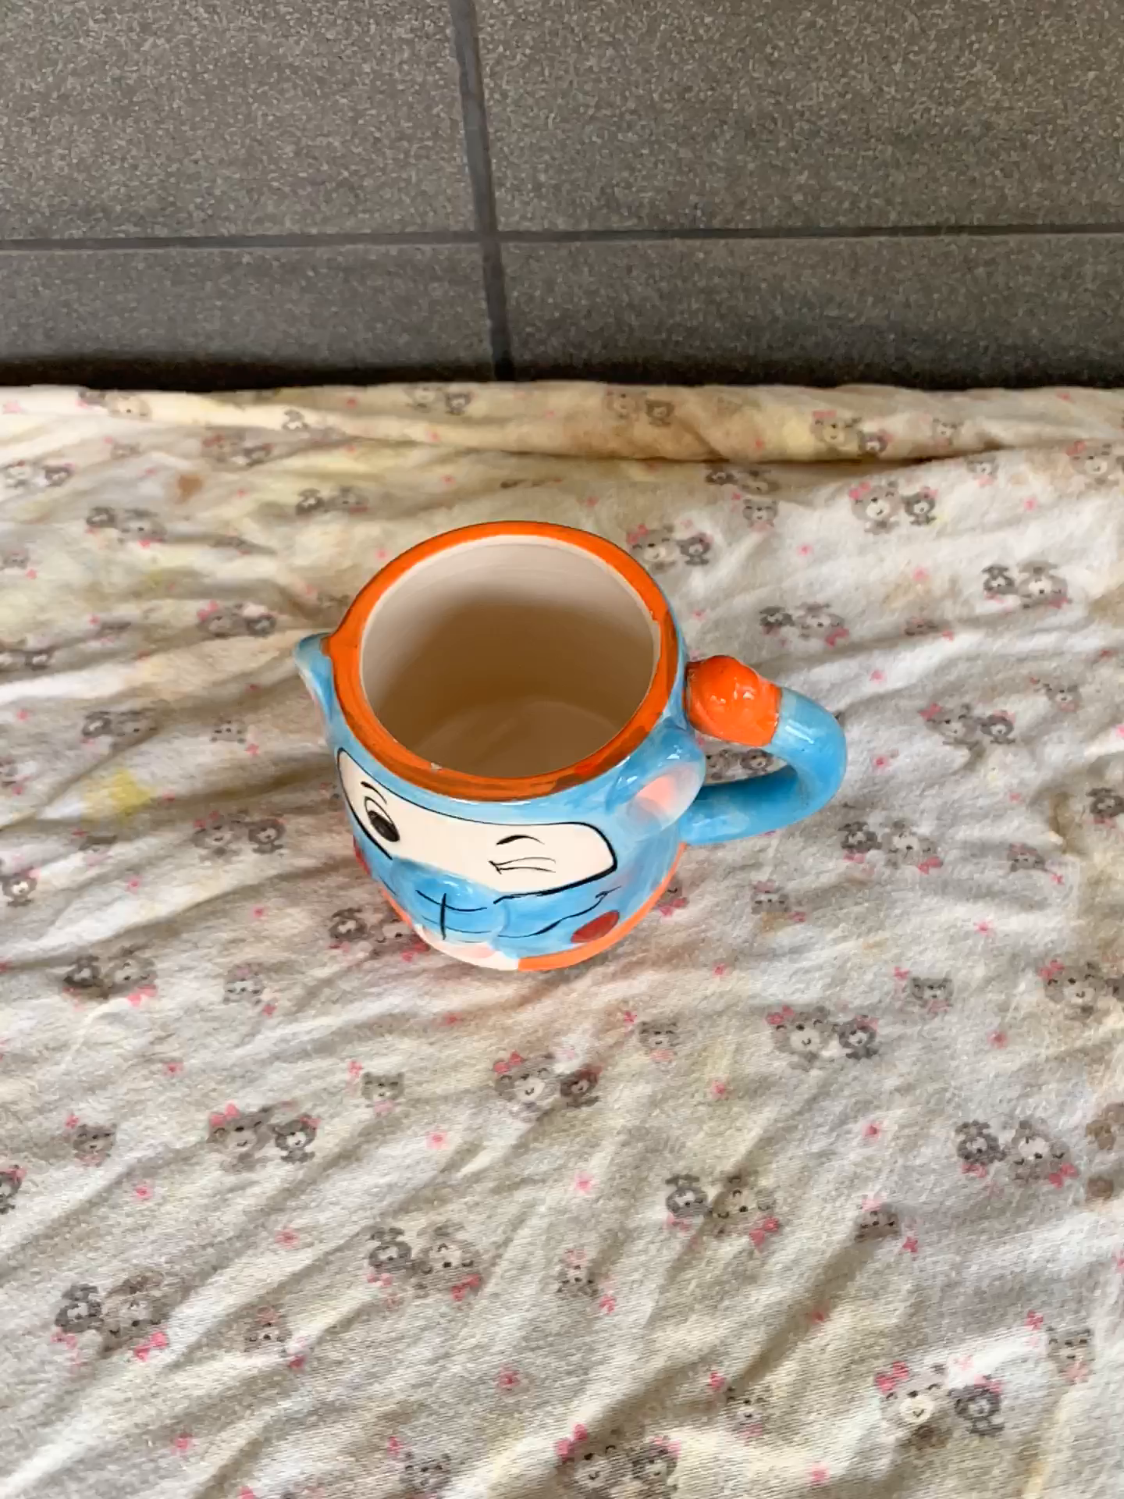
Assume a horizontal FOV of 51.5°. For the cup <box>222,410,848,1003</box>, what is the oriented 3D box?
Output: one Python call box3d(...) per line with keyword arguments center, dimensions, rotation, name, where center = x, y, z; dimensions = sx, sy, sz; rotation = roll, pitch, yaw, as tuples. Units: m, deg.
box3d(center=(0.002, -0.008, 0.266), dimensions=(0.110, 0.090, 0.090), rotation=(6, 57, 7), name="cup")
